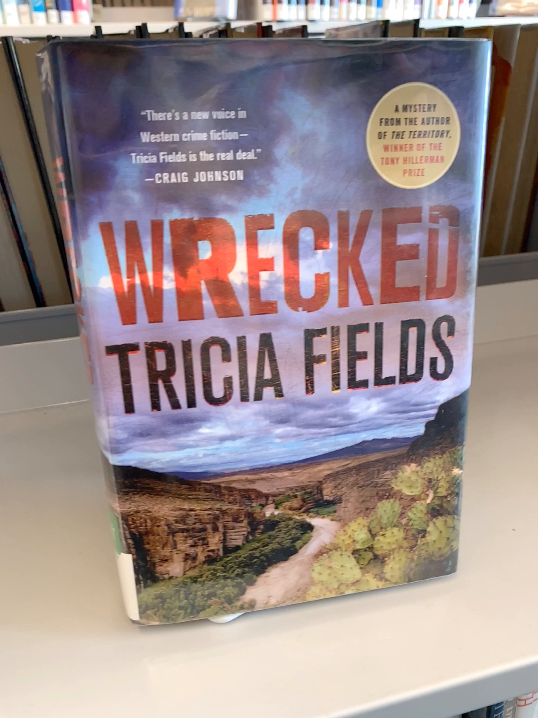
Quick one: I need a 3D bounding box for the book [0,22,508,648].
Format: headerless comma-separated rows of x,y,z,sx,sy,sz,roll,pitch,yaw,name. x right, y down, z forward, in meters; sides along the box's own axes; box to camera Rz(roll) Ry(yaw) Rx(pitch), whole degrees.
0.001,-0.003,0.207,0.150,0.202,0.040,-6,18,-9,book
